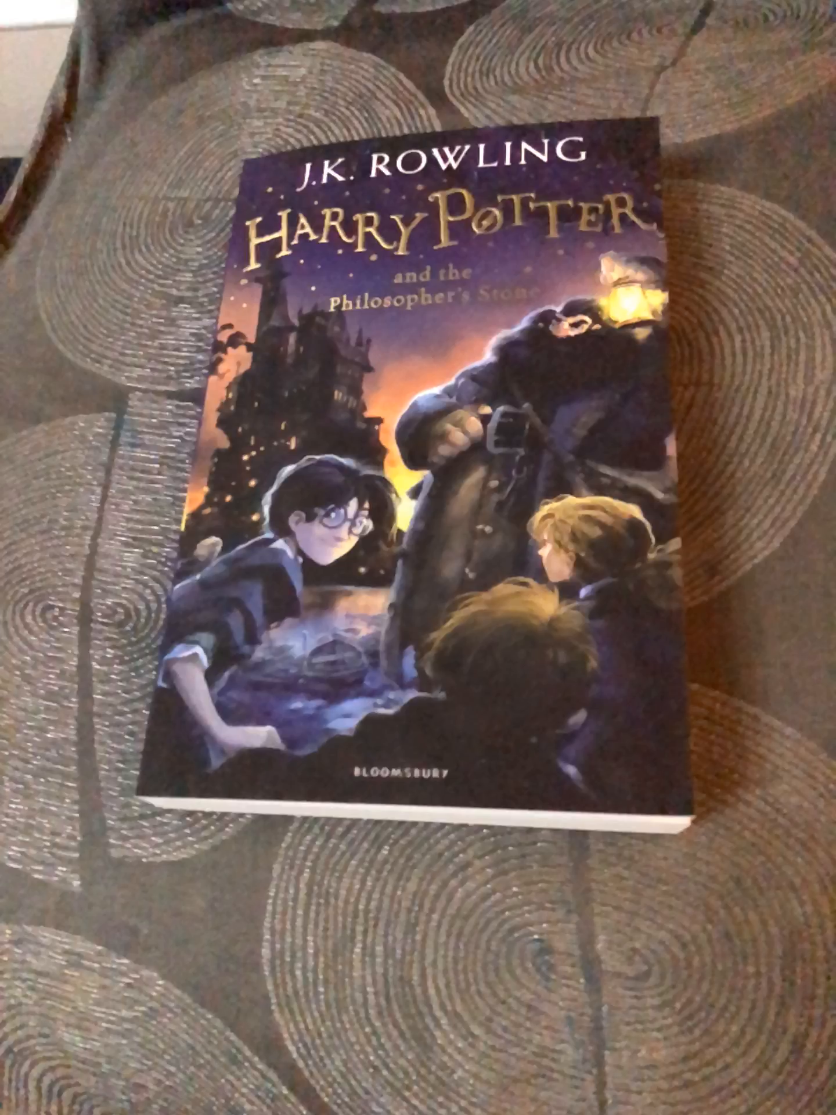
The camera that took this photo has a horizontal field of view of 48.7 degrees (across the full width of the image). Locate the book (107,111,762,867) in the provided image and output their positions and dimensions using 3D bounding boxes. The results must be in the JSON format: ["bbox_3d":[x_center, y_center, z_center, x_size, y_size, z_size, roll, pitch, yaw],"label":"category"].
[{"bbox_3d":[0.007,-0.029,0.257,0.140,0.040,0.210,1,67,4],"label":"book"}]
